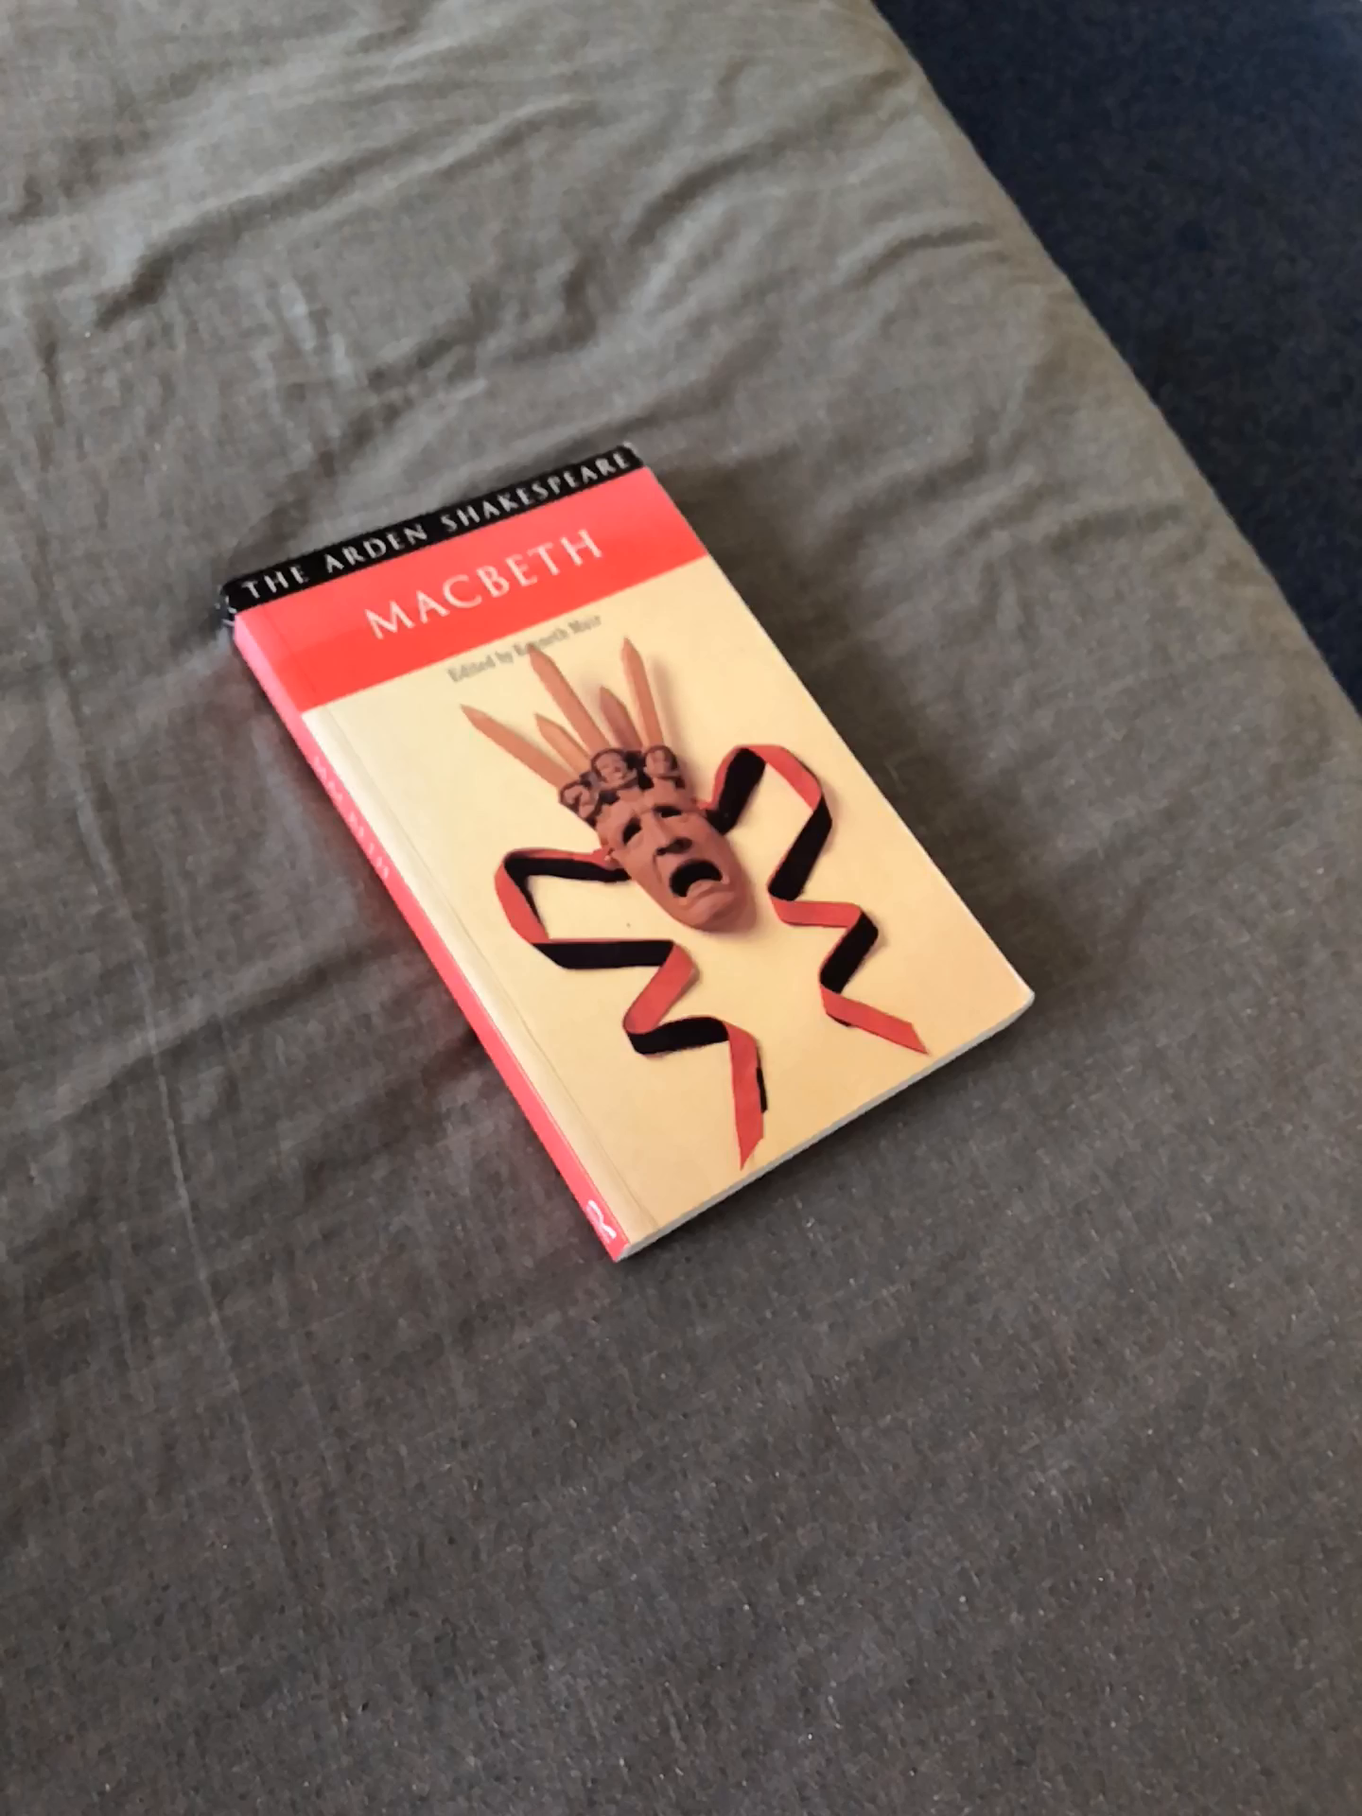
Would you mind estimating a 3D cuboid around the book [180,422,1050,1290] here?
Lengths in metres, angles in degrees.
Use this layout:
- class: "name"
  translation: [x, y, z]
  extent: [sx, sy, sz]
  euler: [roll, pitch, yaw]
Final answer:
- class: "book"
  translation: [-0.019, -0.026, 0.380]
  extent: [0.130, 0.020, 0.200]
  euler: [-27, 72, -23]
